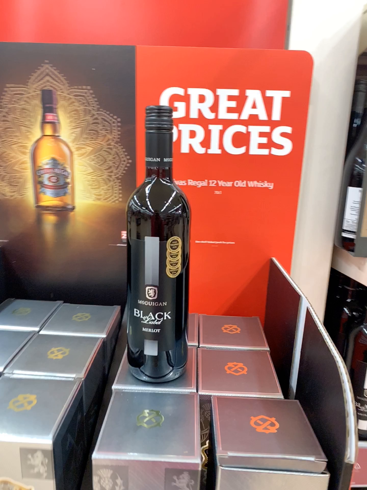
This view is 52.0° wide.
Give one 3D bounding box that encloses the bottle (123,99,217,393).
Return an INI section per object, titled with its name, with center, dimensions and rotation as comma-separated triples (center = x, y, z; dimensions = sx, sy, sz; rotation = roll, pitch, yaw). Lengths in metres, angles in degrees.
[bottle]
center = -0.015, 0.001, 0.405
dimensions = 0.070, 0.288, 0.080
rotation = 6, 15, 16
